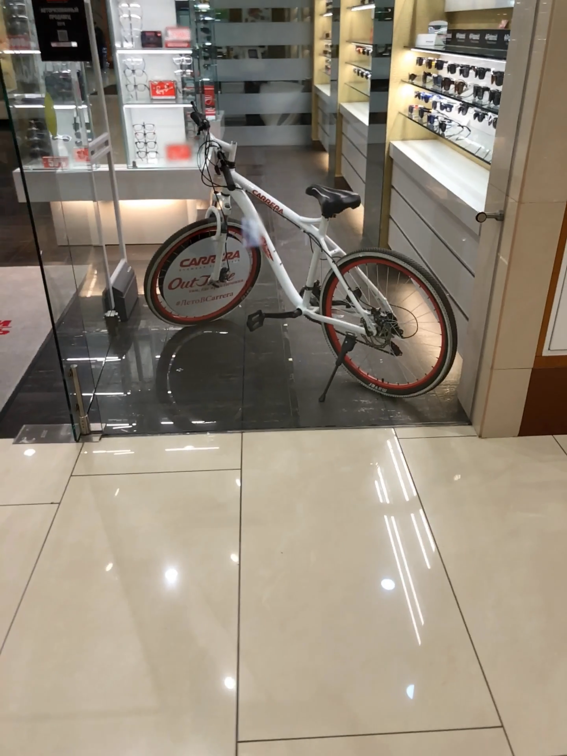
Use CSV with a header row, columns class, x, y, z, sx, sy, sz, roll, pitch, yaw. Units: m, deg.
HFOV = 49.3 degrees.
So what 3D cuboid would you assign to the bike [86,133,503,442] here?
class,x,y,z,sx,sy,sz,roll,pitch,yaw
bike,0.008,-0.418,2.485,1.382,0.948,0.594,11,30,28
